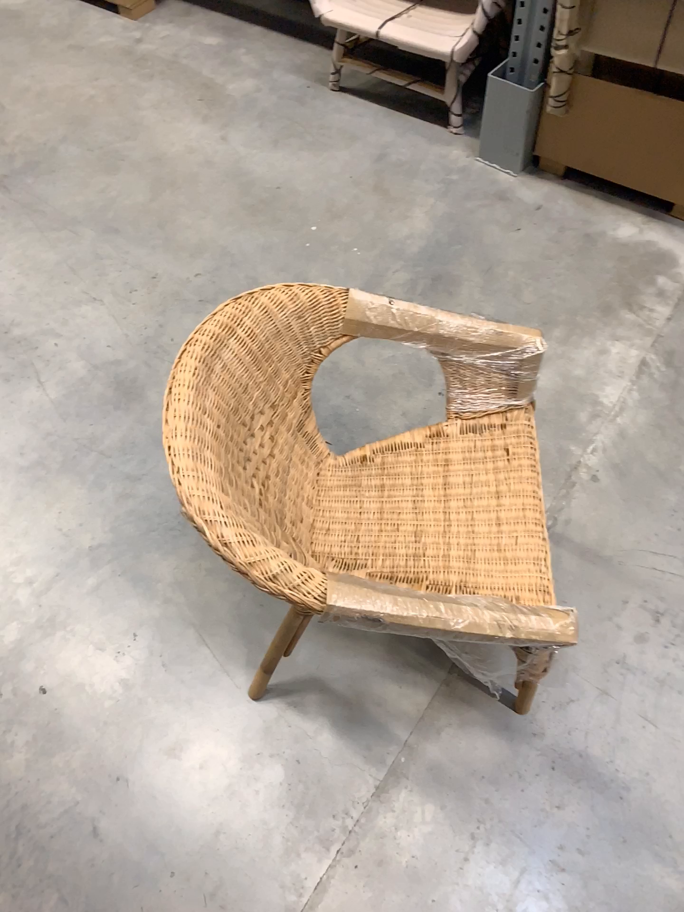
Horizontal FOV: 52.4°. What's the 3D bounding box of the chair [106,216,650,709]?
[{"bbox_3d":[0.067,0.059,1.312,0.650,0.758,0.601,1,57,4],"label":"chair"}]
